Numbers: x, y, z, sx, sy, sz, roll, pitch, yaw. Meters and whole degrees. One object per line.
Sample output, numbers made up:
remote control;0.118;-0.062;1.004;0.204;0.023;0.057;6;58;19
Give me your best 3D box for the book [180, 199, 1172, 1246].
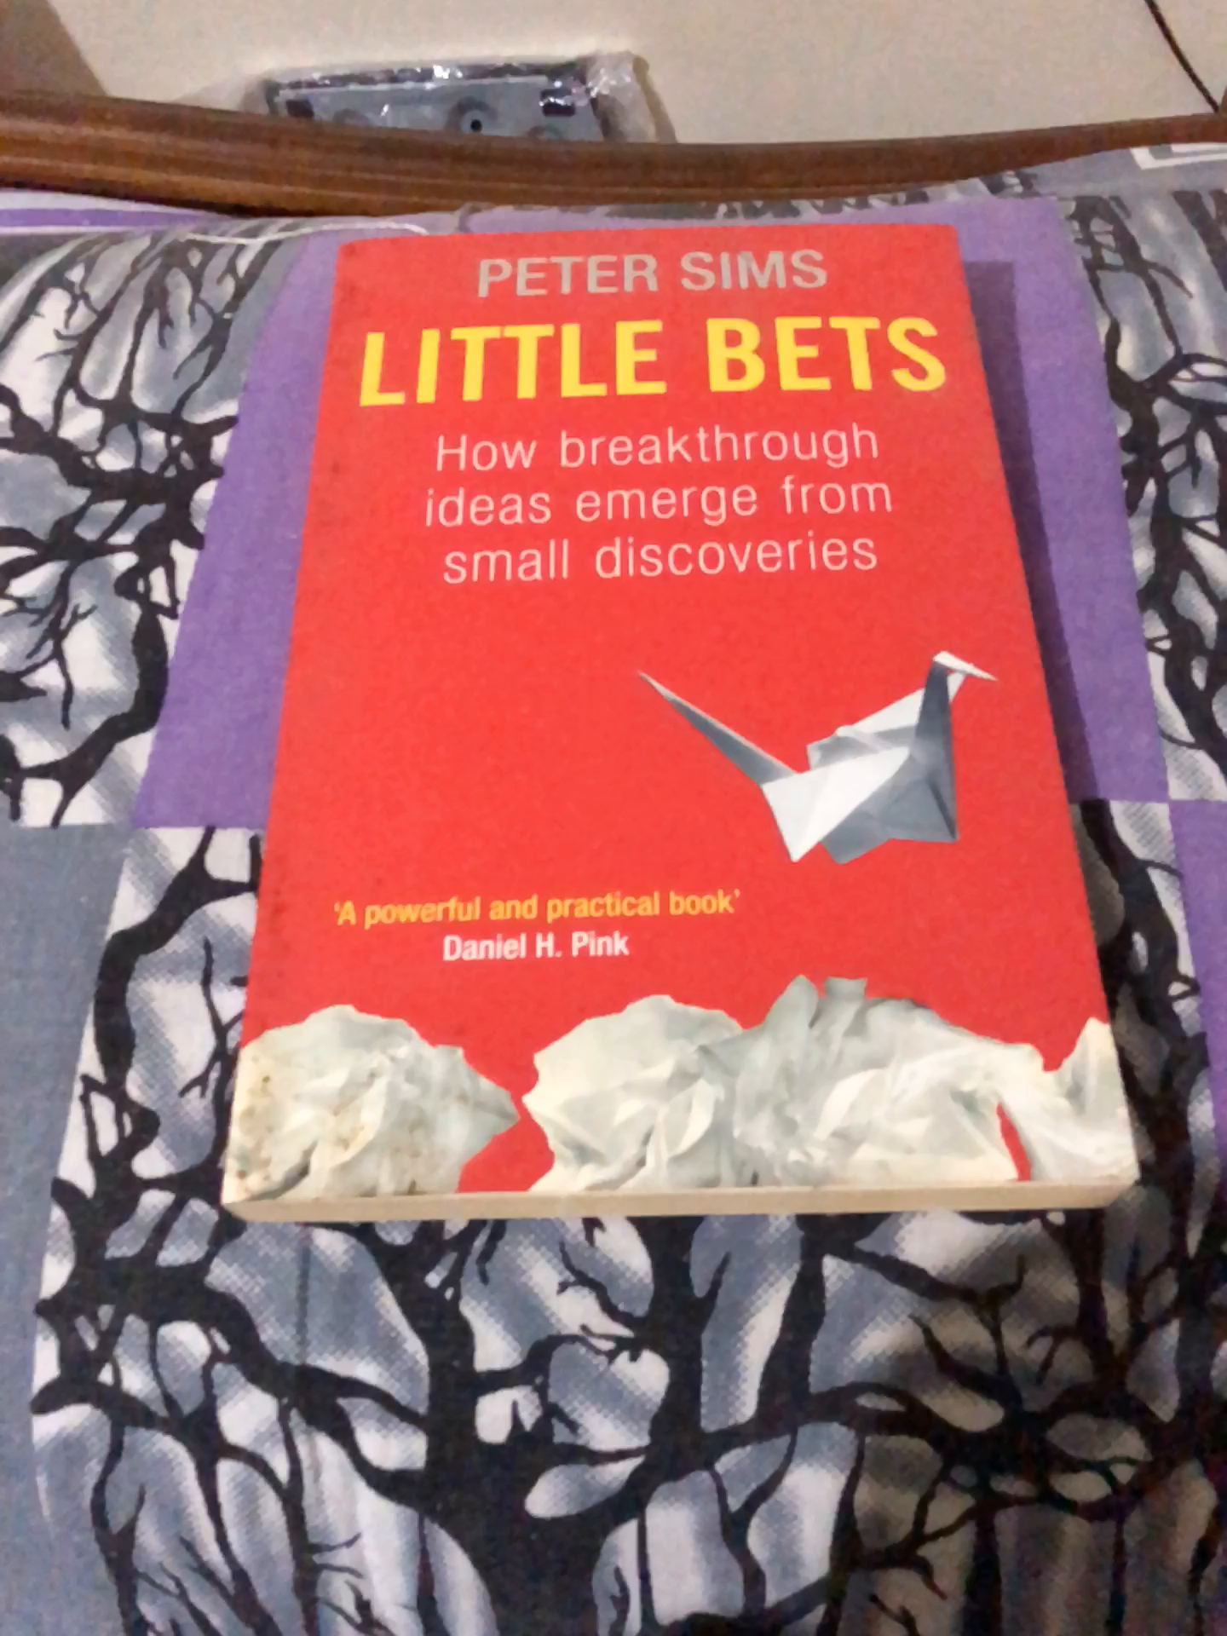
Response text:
book;0.009;-0.038;0.277;0.150;0.020;0.241;-1;59;3
